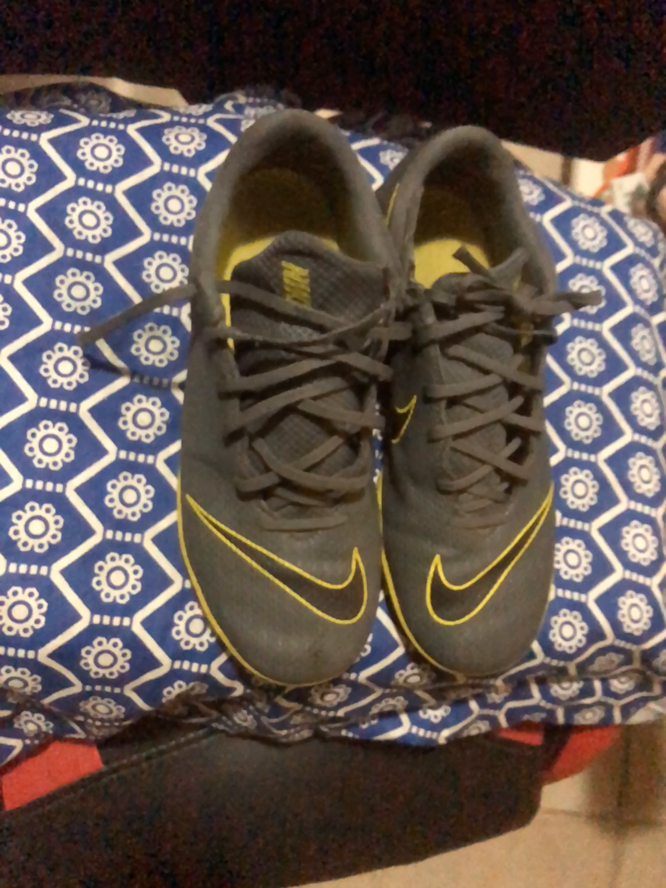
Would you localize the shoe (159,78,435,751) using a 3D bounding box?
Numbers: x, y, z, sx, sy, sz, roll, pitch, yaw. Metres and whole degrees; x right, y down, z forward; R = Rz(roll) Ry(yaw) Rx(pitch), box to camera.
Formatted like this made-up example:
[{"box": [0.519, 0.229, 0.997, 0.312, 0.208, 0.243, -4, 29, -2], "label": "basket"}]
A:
[{"box": [-0.024, -0.012, 0.316, 0.090, 0.090, 0.240, -2, 83, -14], "label": "shoe"}]

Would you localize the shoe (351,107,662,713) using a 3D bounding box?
[{"box": [0.071, -0.015, 0.345, 0.090, 0.090, 0.240, -2, 83, -14], "label": "shoe"}]
